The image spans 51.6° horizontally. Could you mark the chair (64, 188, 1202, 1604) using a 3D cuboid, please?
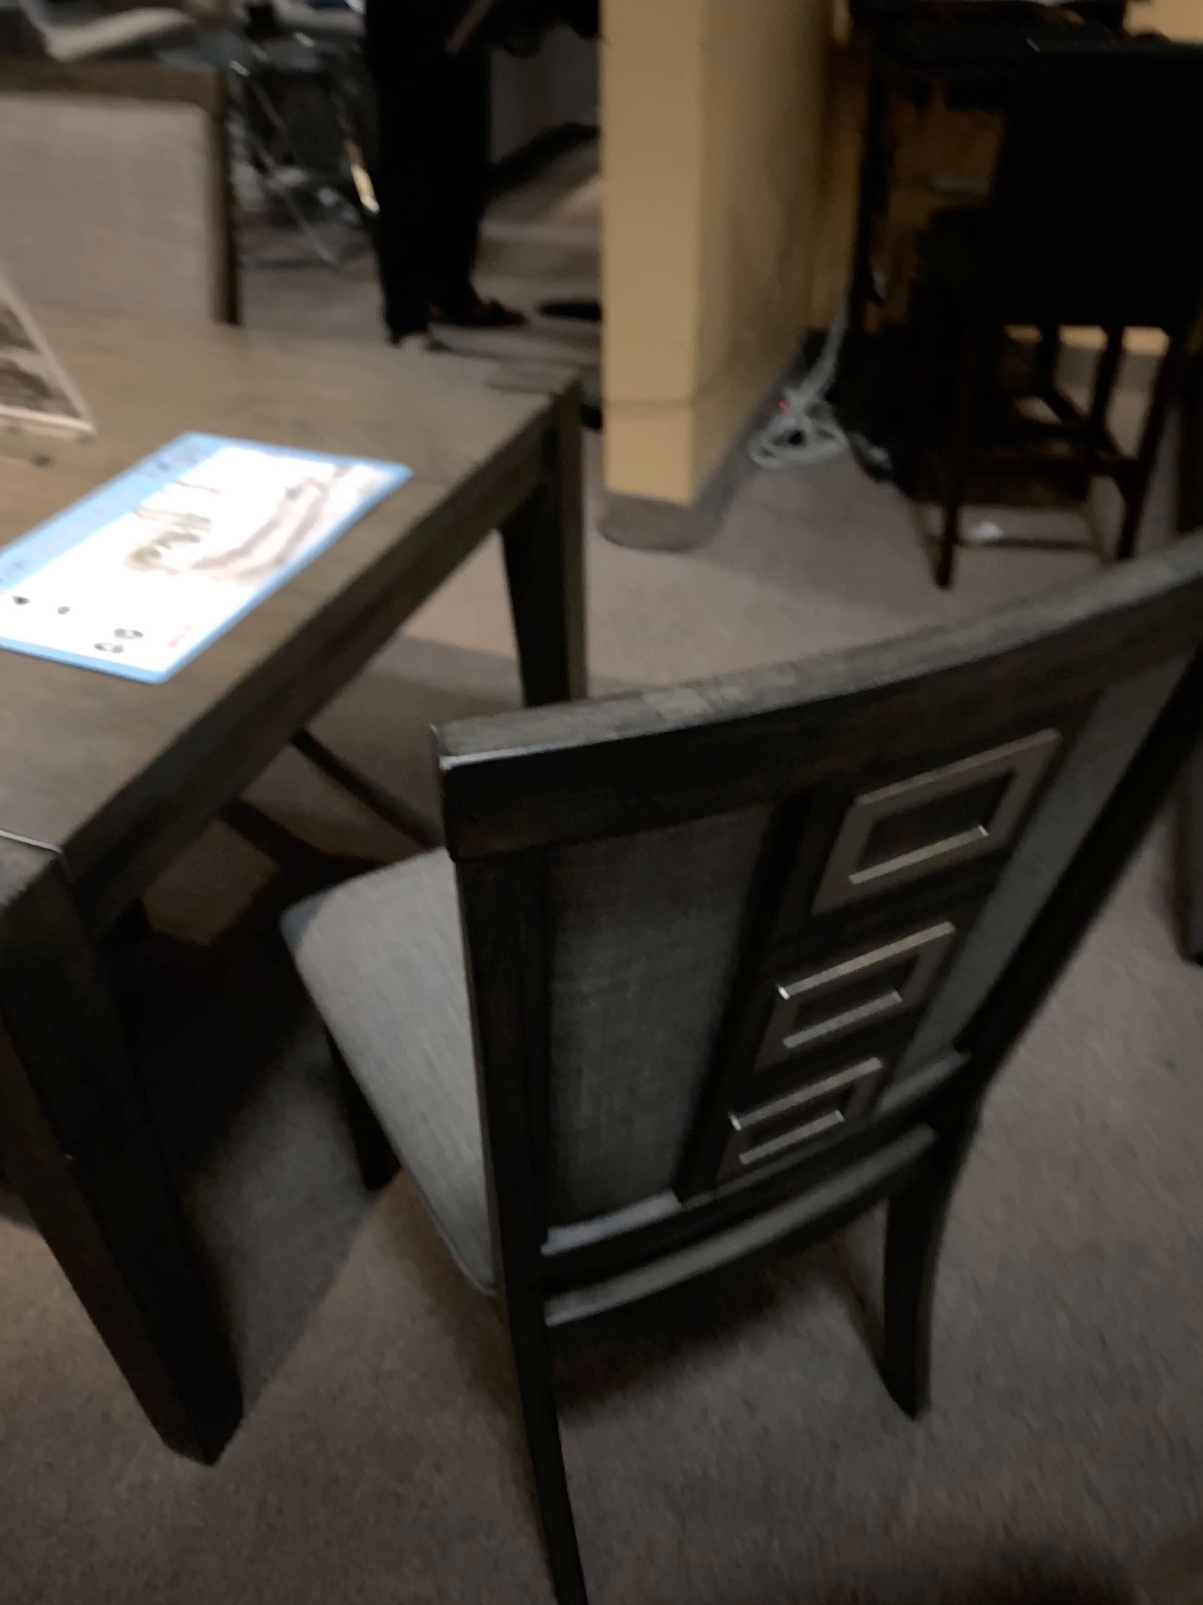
[{"bbox_3d":[0.018,0.130,1.039,0.514,0.997,0.645,-20,42,-22],"label":"chair"}]
